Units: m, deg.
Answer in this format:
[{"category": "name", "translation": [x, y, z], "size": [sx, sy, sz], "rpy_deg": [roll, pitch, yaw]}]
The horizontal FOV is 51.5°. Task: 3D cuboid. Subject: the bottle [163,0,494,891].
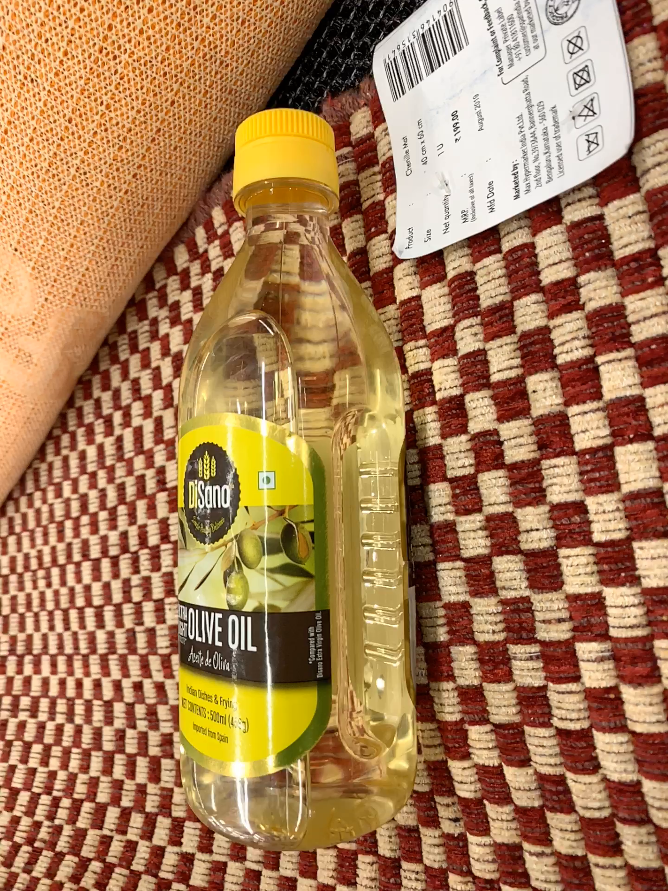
[{"category": "bottle", "translation": [-0.004, -0.005, 0.209], "size": [0.070, 0.060, 0.230], "rpy_deg": [-6, 84, 45]}]
